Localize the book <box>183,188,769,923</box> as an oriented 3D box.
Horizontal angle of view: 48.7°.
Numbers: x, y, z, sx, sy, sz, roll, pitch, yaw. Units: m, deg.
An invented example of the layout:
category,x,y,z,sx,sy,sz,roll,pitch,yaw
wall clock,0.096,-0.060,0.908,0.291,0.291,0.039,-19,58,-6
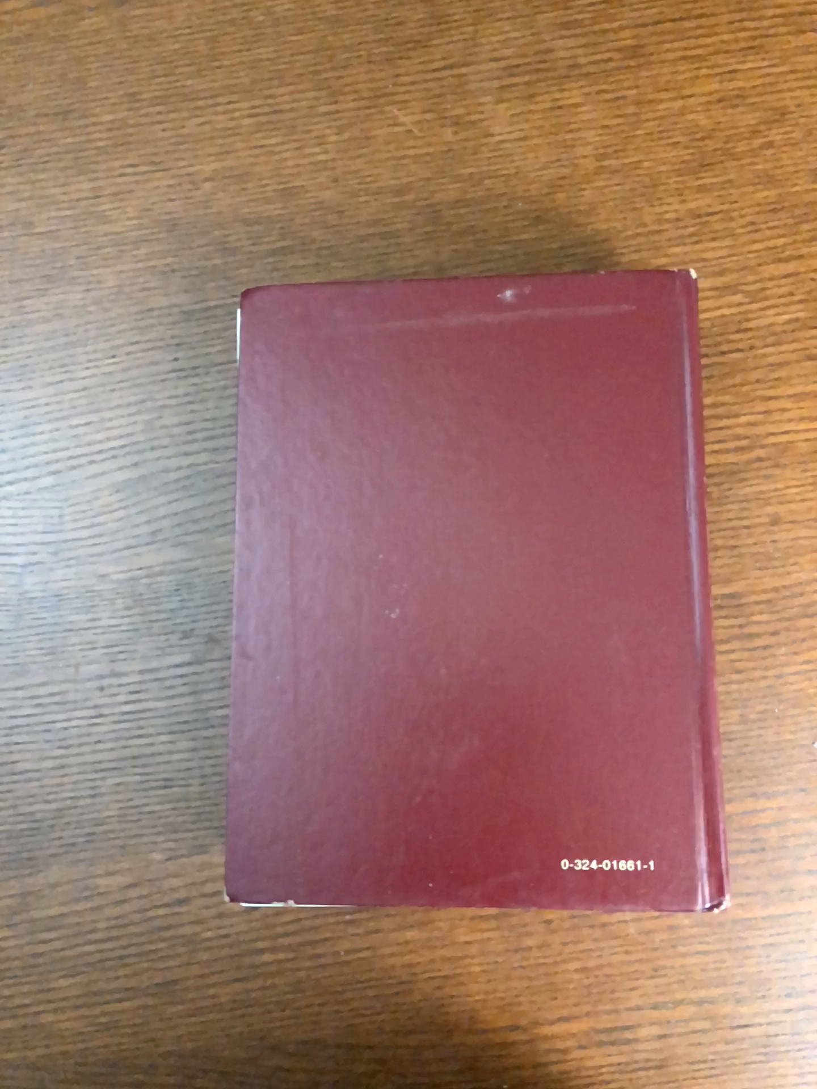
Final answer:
category,x,y,z,sx,sy,sz,roll,pitch,yaw
book,0.024,0.003,0.397,0.220,0.070,0.290,-1,81,5
